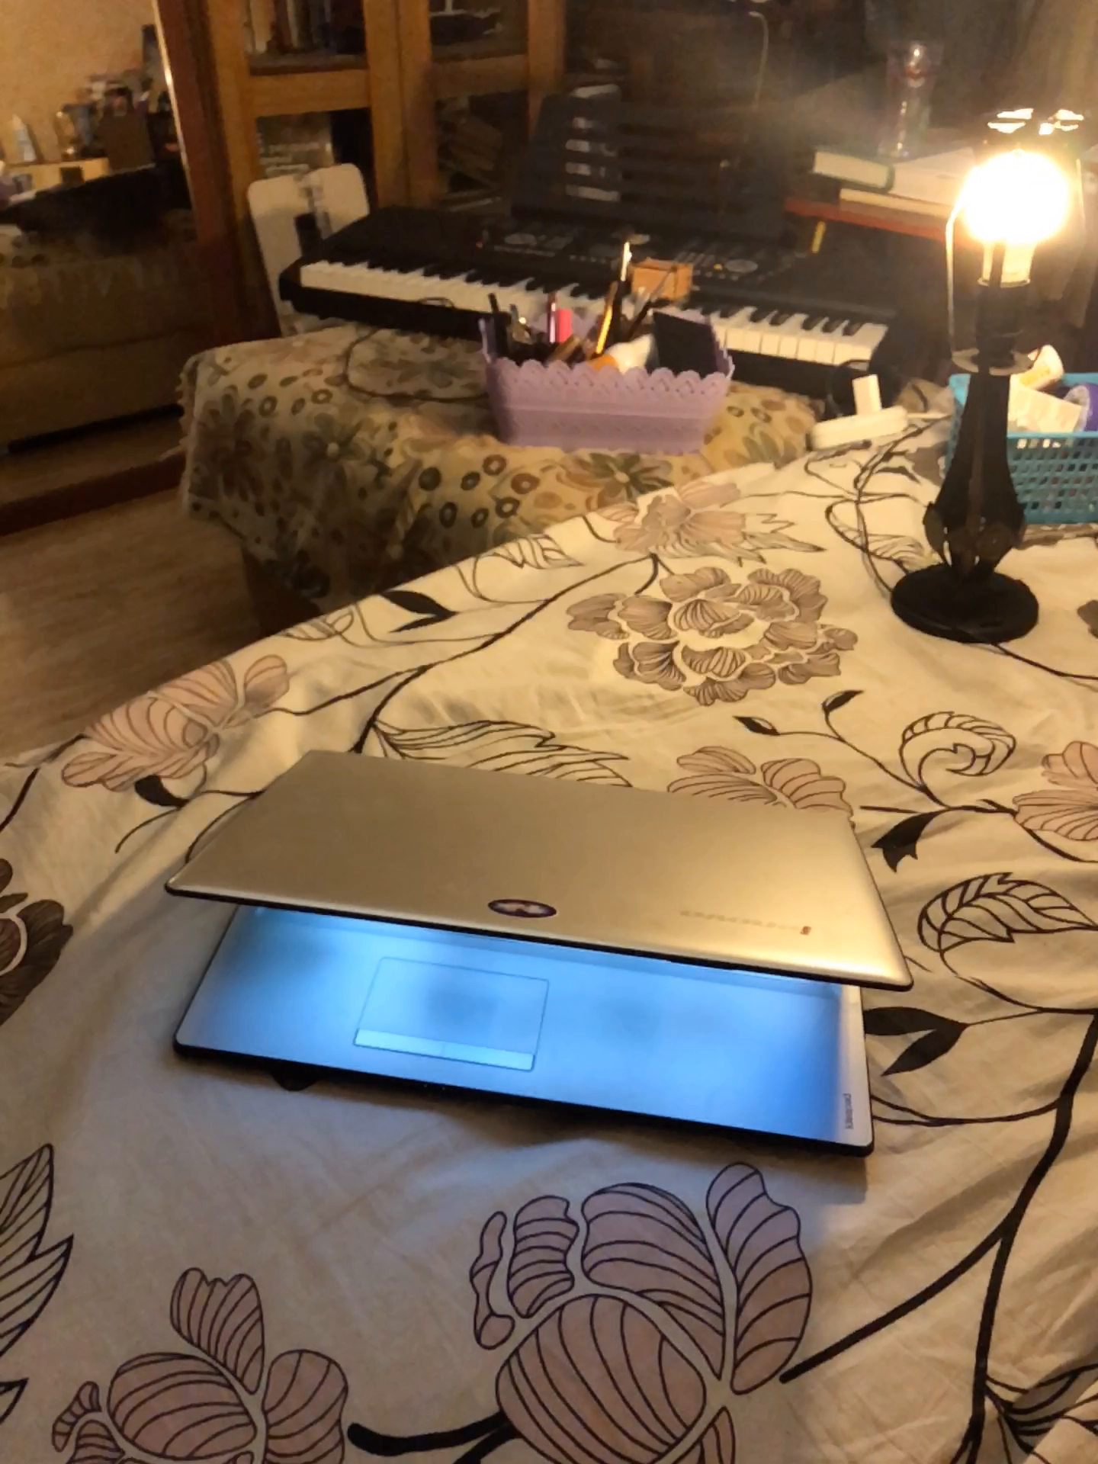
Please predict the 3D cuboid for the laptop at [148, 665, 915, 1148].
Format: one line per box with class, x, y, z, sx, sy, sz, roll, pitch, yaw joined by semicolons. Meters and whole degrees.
laptop;-0.001;0.082;0.719;0.380;0.082;0.258;6;35;7
